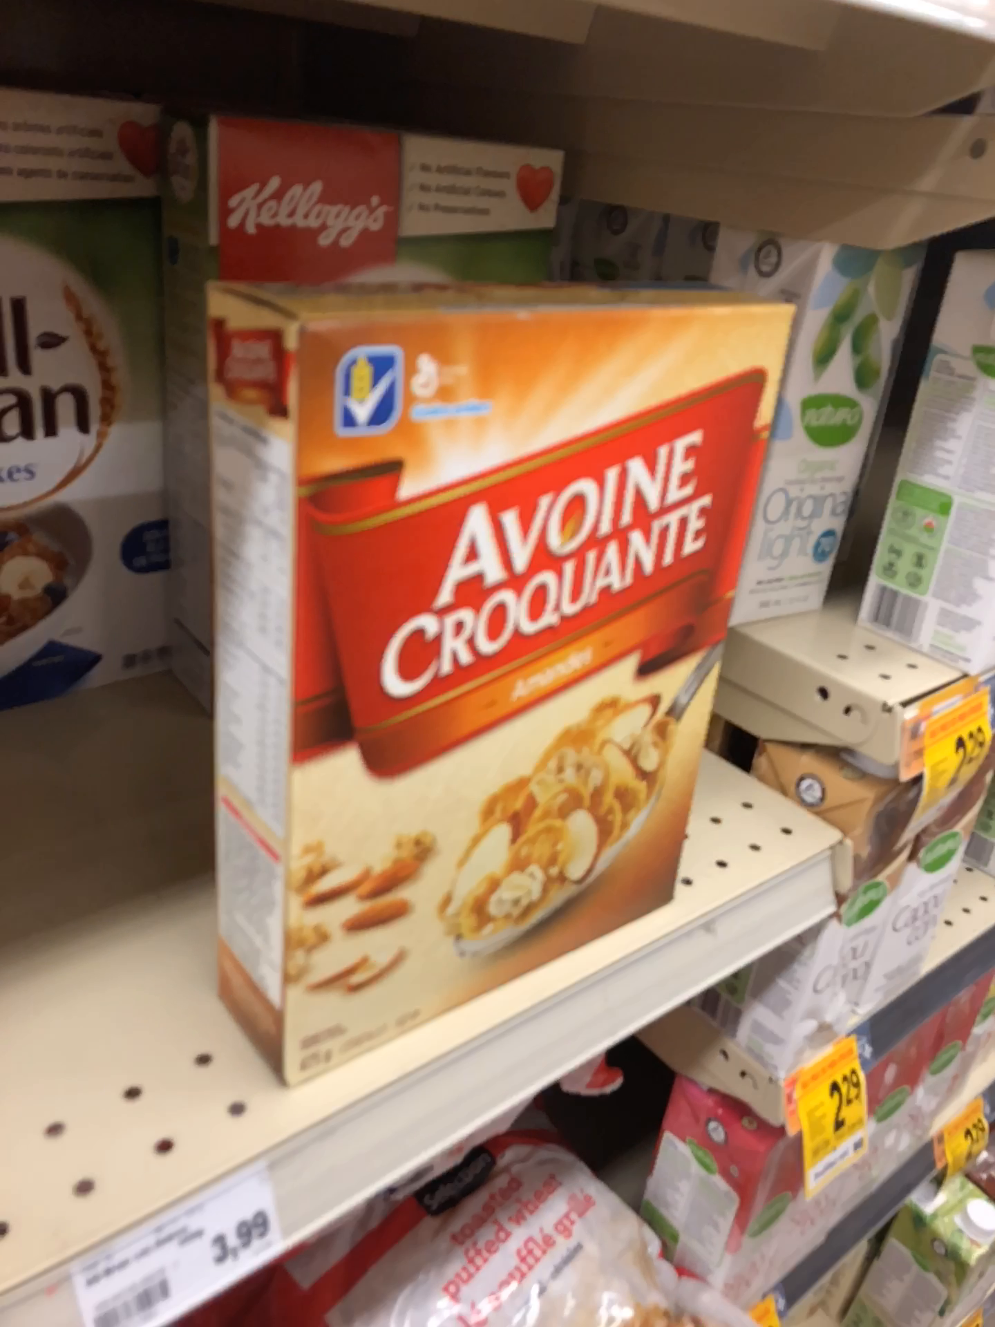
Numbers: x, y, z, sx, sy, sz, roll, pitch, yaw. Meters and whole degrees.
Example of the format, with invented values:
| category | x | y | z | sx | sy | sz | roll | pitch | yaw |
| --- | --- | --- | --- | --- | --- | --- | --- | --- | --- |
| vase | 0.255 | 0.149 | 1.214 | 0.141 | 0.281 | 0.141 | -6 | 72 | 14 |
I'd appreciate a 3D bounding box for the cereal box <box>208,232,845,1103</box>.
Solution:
| category | x | y | z | sx | sy | sz | roll | pitch | yaw |
| --- | --- | --- | --- | --- | --- | --- | --- | --- | --- |
| cereal box | 0.005 | -0.003 | 0.385 | 0.201 | 0.268 | 0.060 | -14 | 34 | -36 |
